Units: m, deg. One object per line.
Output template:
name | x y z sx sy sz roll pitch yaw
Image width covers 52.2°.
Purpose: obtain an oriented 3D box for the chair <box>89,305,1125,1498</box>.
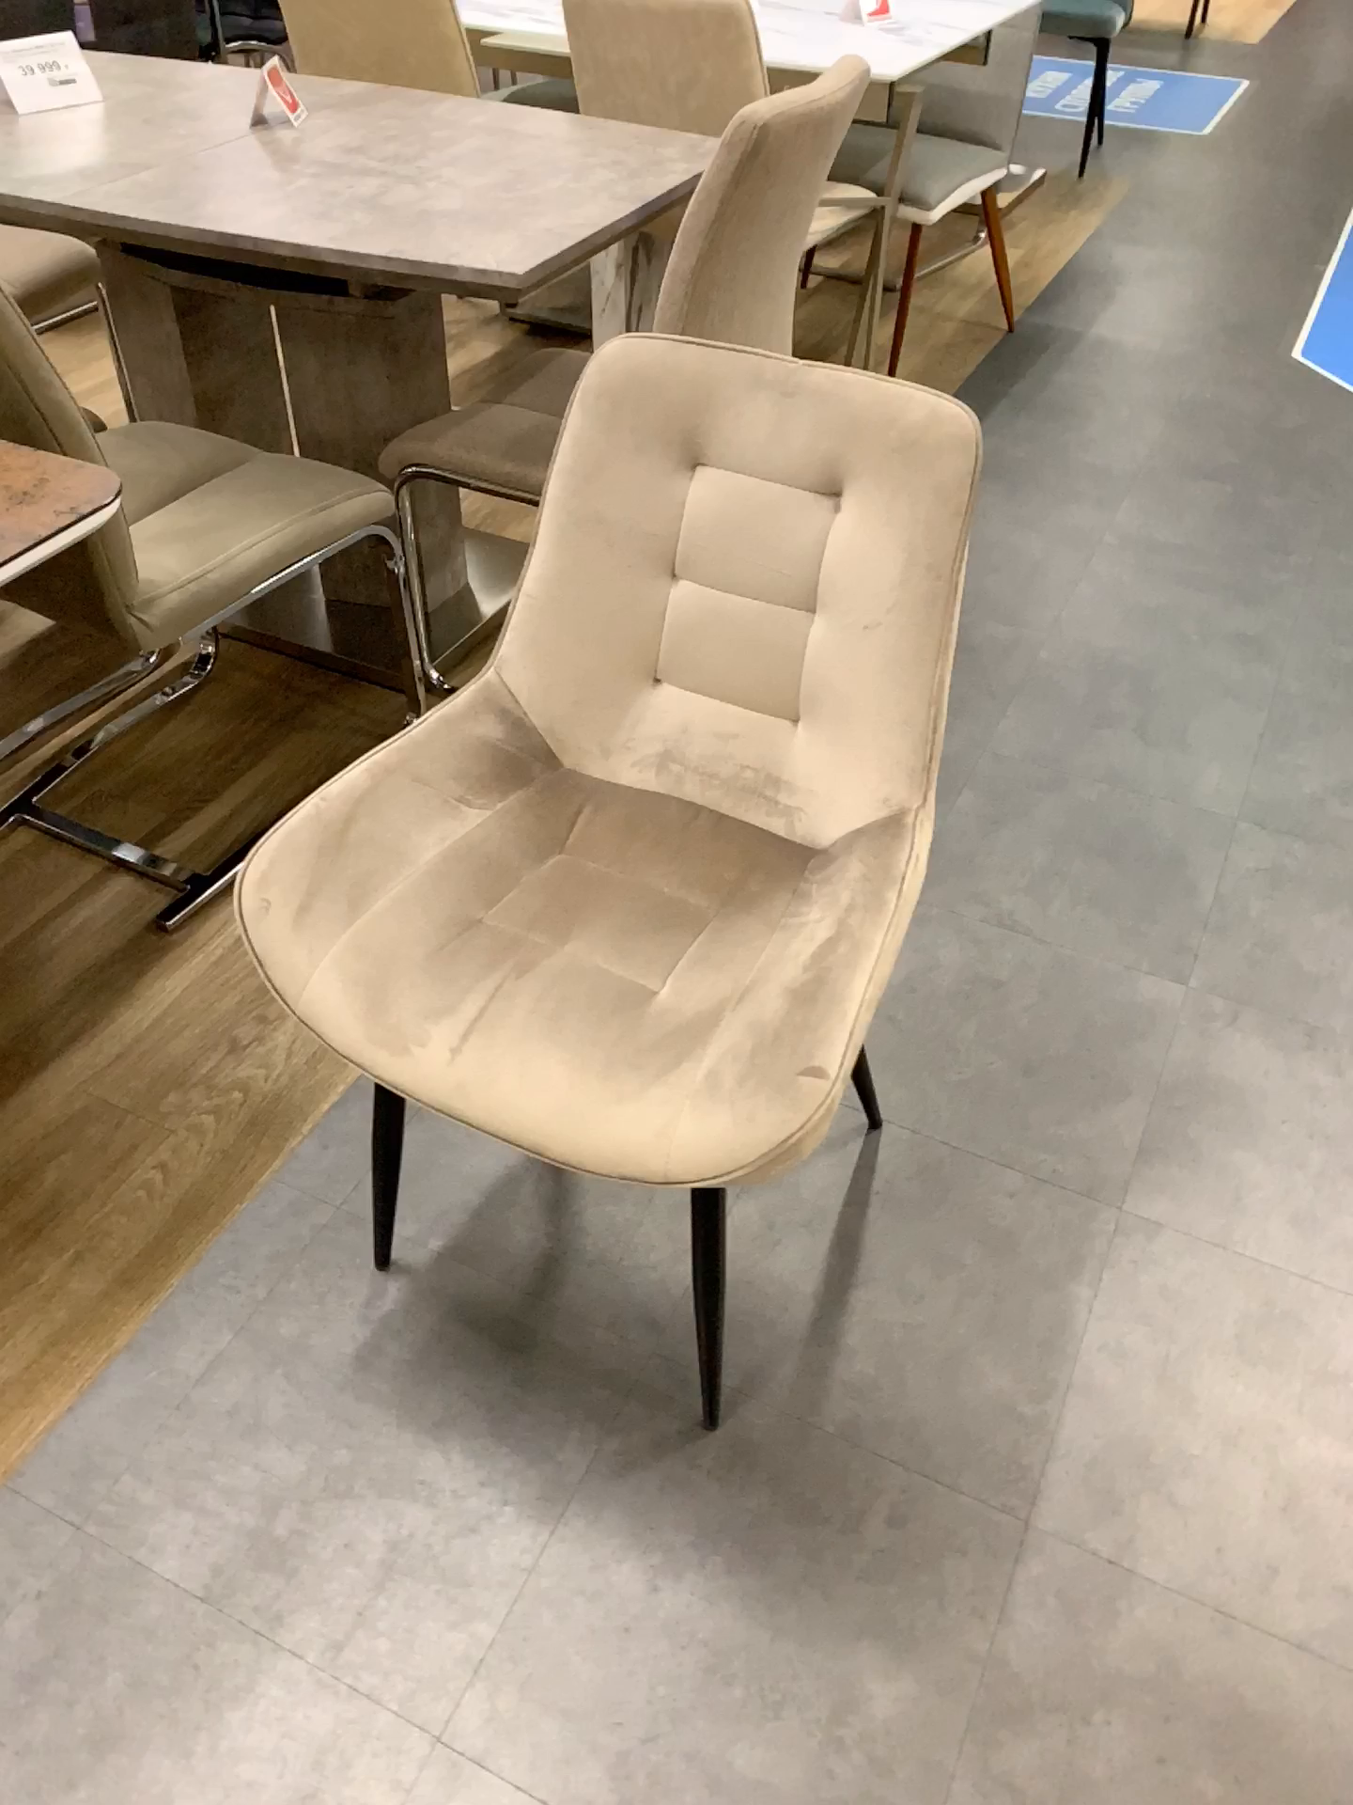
chair | -0.019 -0.016 1.334 0.567 0.818 0.613 20 45 21
